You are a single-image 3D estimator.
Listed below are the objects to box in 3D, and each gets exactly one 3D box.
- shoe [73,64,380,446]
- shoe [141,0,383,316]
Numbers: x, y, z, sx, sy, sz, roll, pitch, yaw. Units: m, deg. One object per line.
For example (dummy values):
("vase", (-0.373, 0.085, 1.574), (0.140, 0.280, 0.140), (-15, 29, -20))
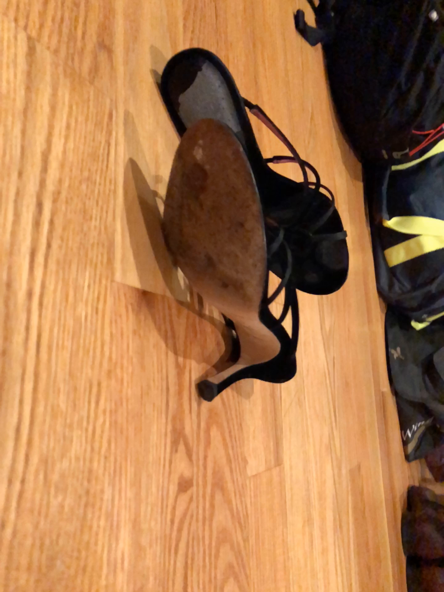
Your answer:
("shoe", (0.027, -0.007, 0.314), (0.215, 0.104, 0.102), (62, 32, -35))
("shoe", (0.050, -0.101, 0.387), (0.235, 0.104, 0.082), (63, 33, -34))
